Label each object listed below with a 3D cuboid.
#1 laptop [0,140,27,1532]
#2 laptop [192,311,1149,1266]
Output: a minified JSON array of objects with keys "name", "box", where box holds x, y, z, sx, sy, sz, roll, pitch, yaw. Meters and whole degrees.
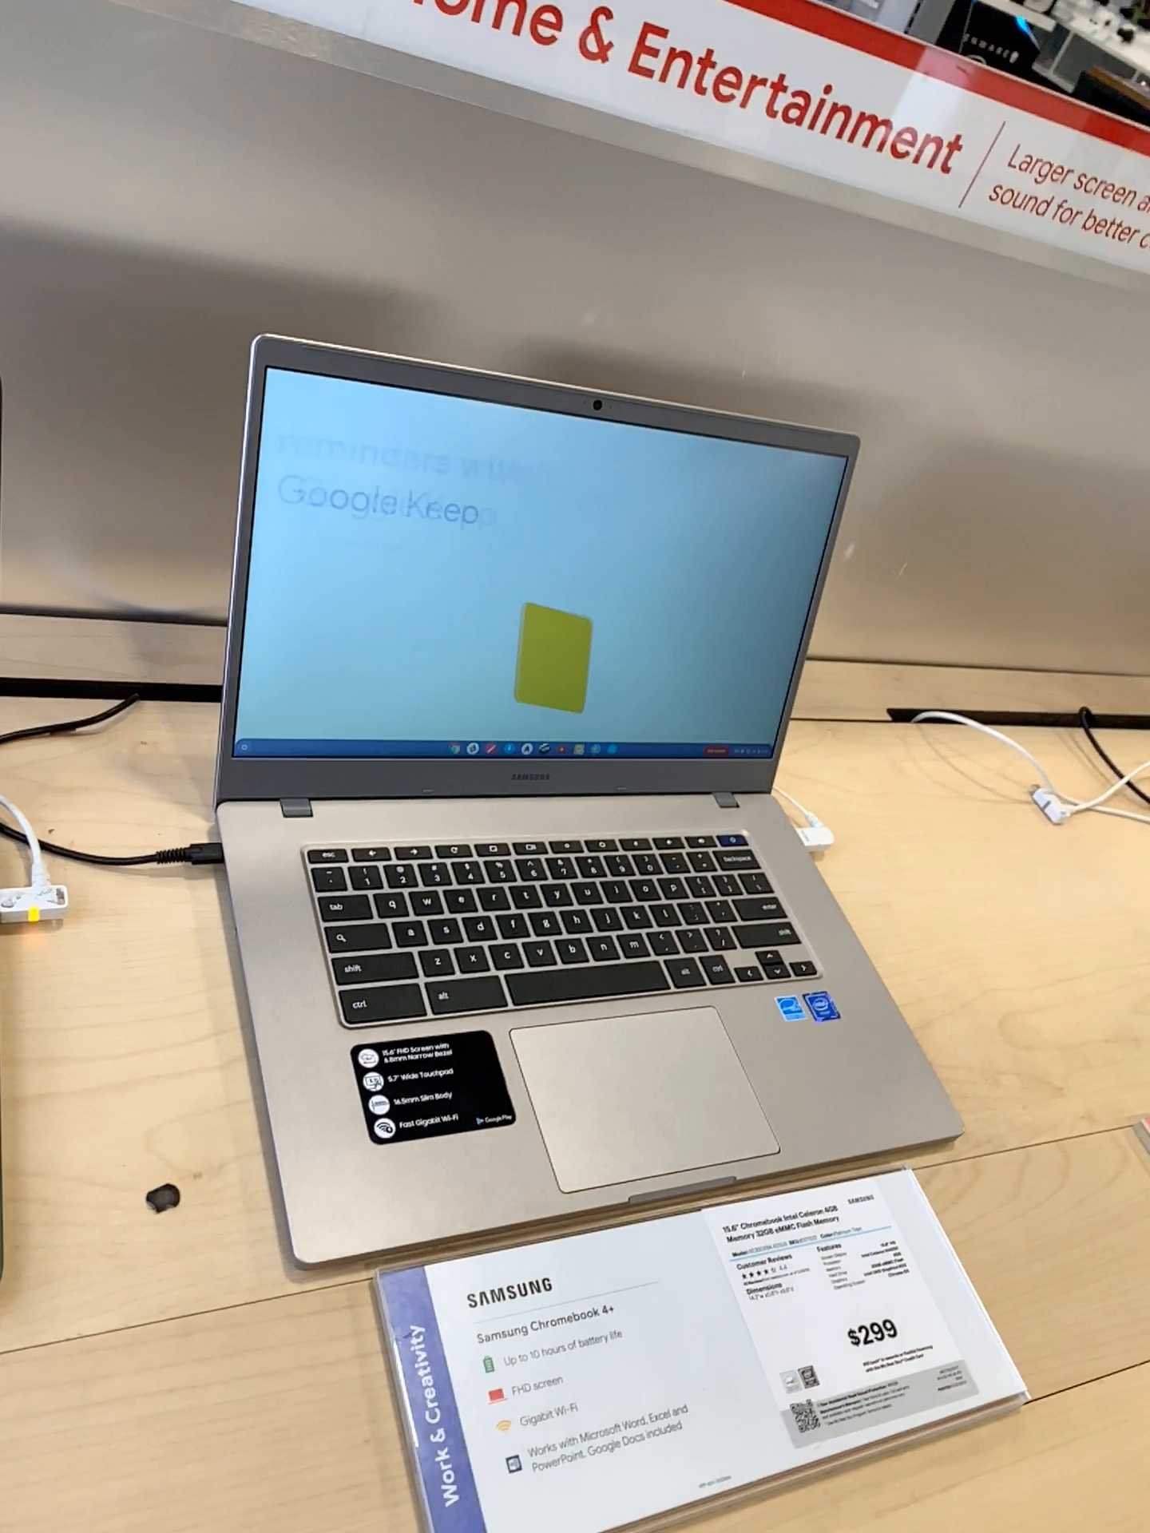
[{"name":"laptop","box":[-0.361,0.008,0.362,0.321,0.193,0.294,0,46,-29]},{"name":"laptop","box":[0.031,-0.004,0.573,0.351,0.205,0.338,0,47,-28]}]
